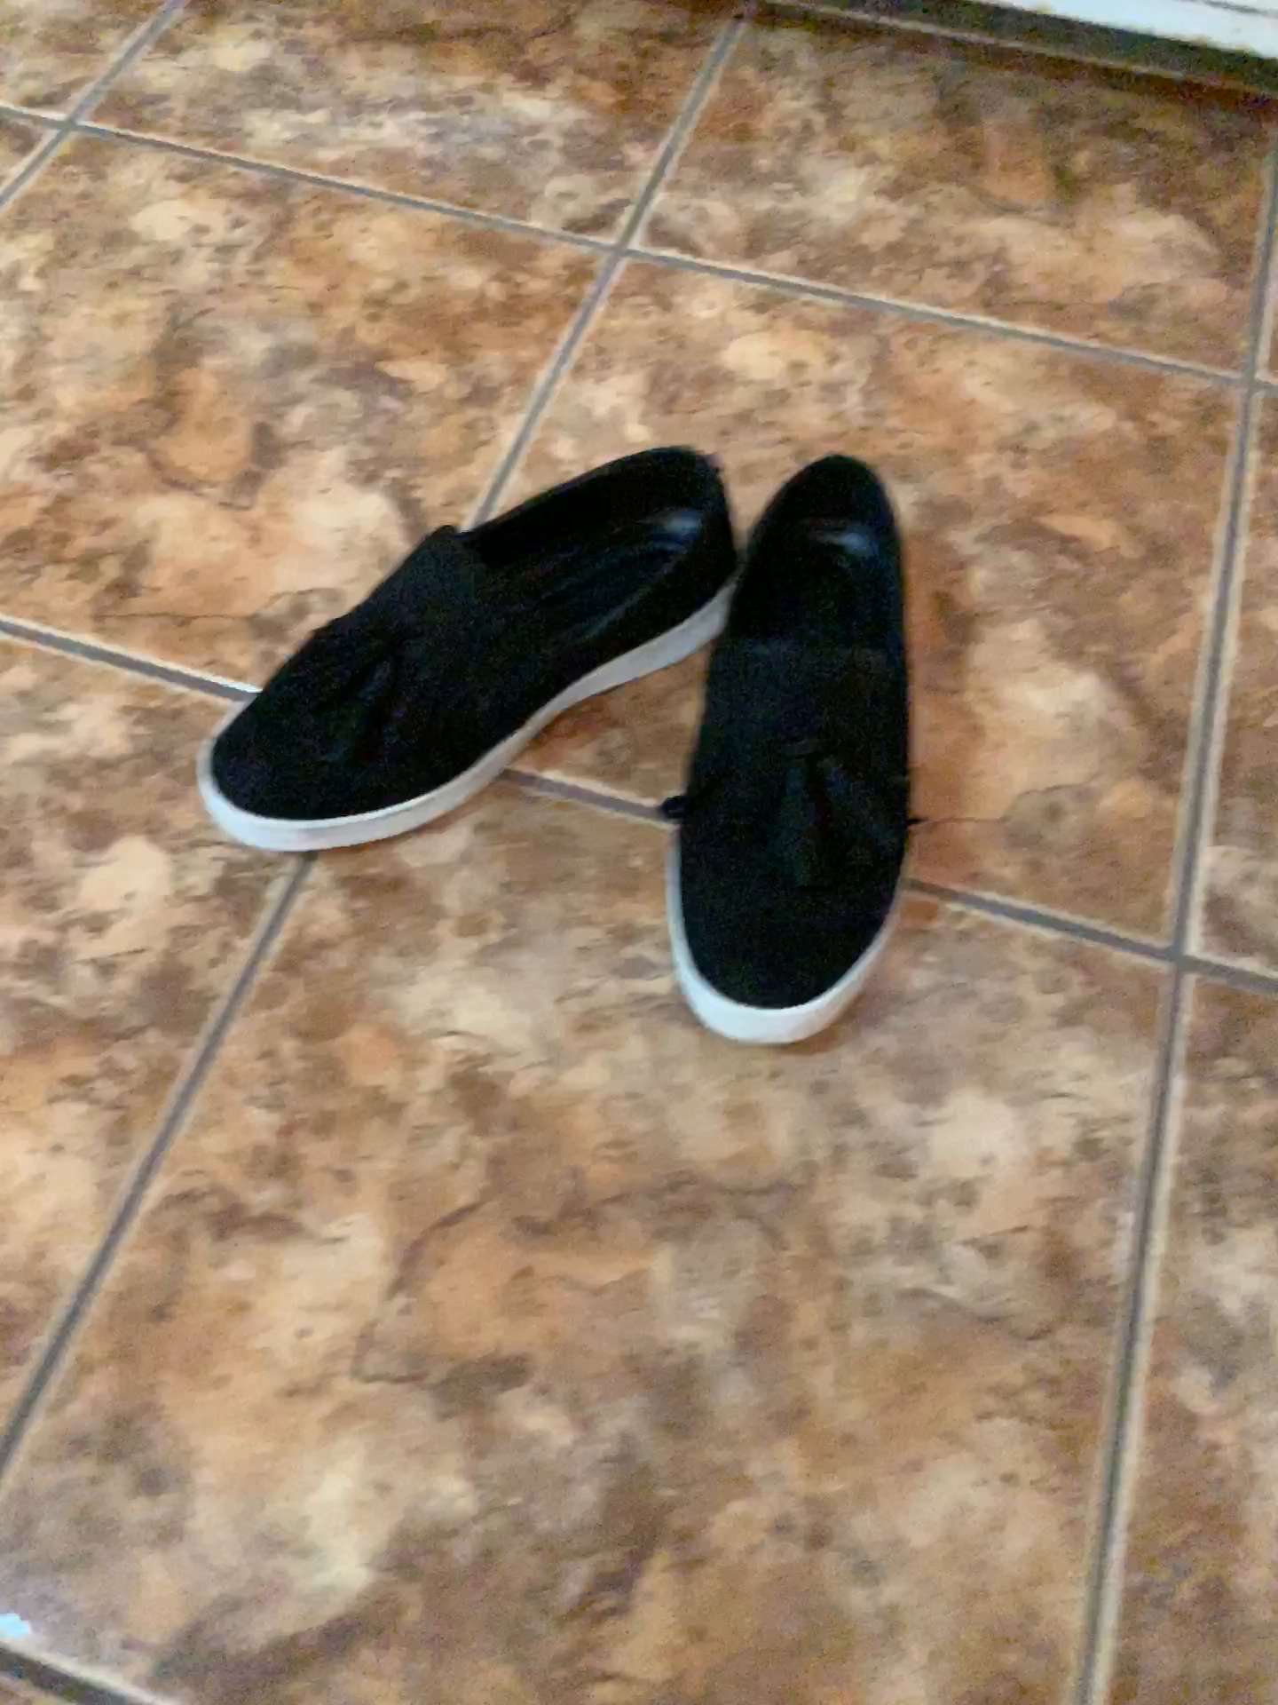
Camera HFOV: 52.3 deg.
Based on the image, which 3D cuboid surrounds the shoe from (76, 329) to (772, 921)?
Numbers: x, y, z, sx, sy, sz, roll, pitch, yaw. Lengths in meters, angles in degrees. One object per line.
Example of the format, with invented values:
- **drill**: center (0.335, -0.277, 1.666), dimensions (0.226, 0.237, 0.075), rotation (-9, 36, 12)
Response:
- **shoe**: center (-0.075, -0.097, 0.529), dimensions (0.250, 0.094, 0.097), rotation (-35, 66, -20)

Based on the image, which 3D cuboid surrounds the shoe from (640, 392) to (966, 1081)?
- **shoe**: center (0.066, -0.052, 0.506), dimensions (0.097, 0.094, 0.250), rotation (7, 59, 3)
